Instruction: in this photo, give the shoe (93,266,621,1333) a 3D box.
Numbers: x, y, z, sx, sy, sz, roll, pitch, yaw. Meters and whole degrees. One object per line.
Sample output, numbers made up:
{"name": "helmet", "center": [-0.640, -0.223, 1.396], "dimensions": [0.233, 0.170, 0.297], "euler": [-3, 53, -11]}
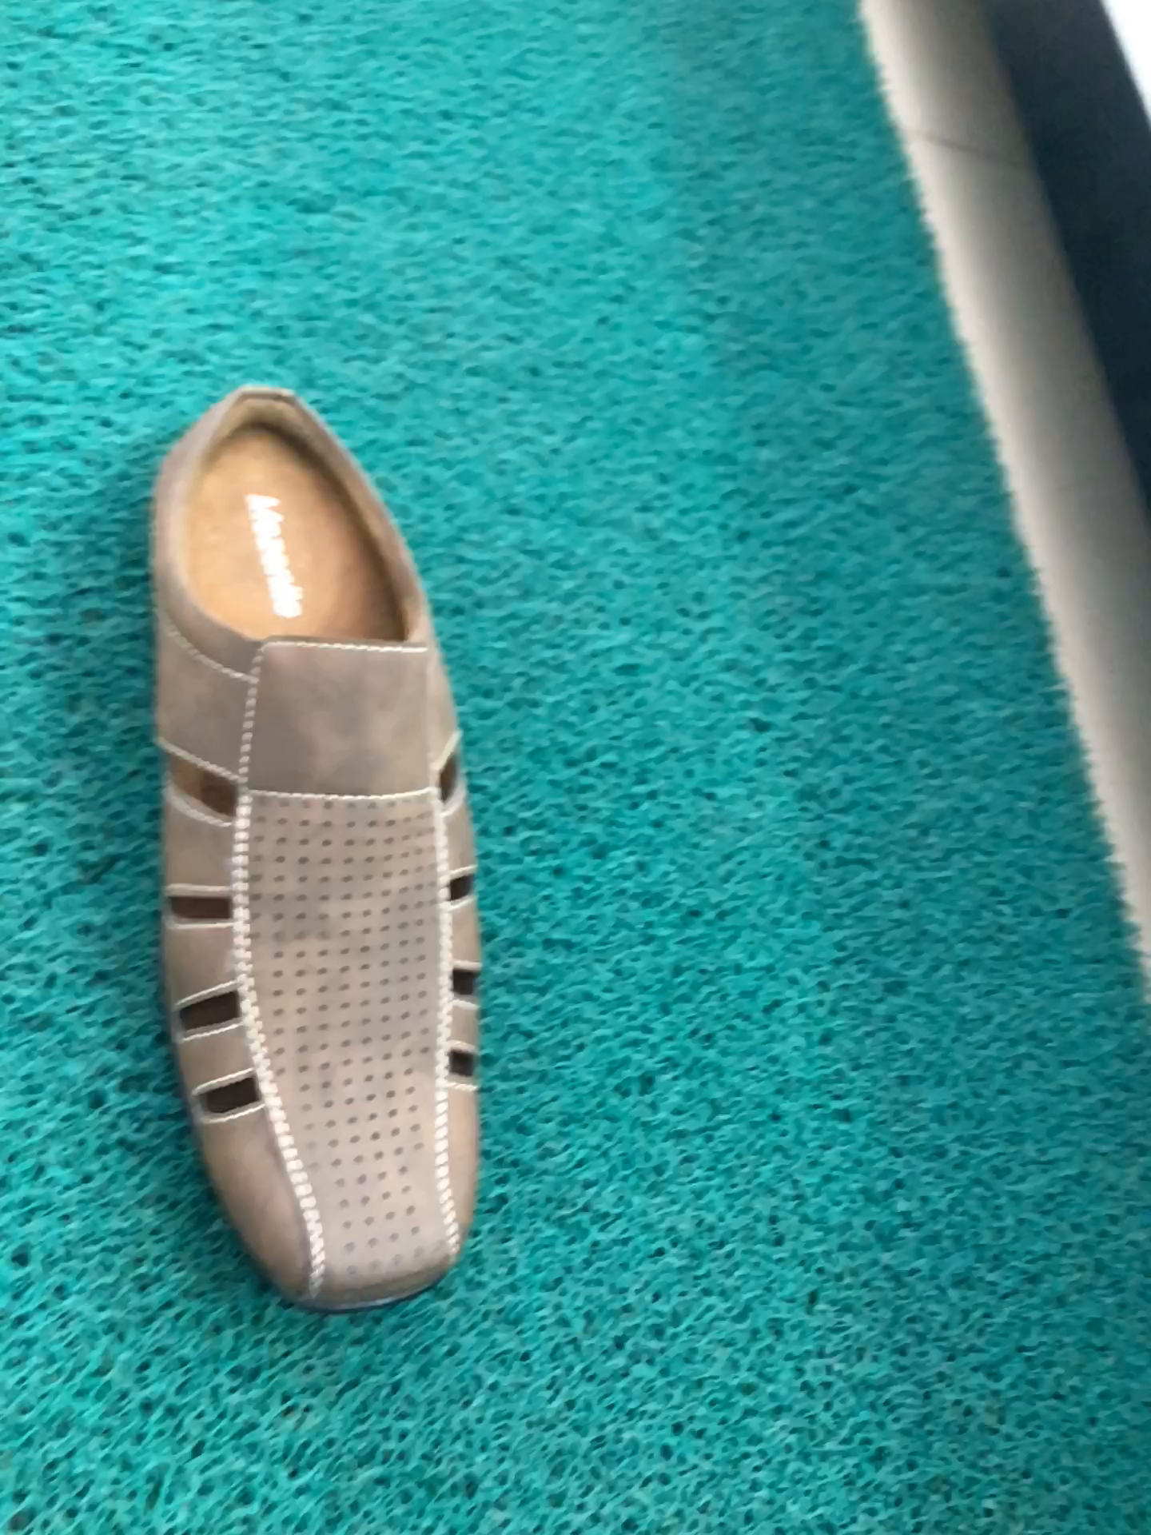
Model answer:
{"name": "shoe", "center": [-0.075, 0.000, 0.377], "dimensions": [0.090, 0.070, 0.290], "euler": [-3, 70, -28]}
